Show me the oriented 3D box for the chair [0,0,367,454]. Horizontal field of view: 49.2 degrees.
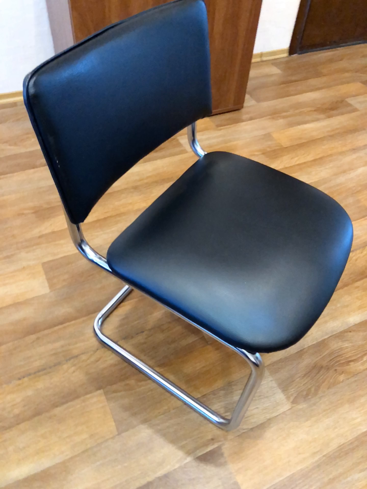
[{"bbox_3d":[0.071,-0.025,0.886,0.524,0.745,0.494,28,52,20],"label":"chair"}]
